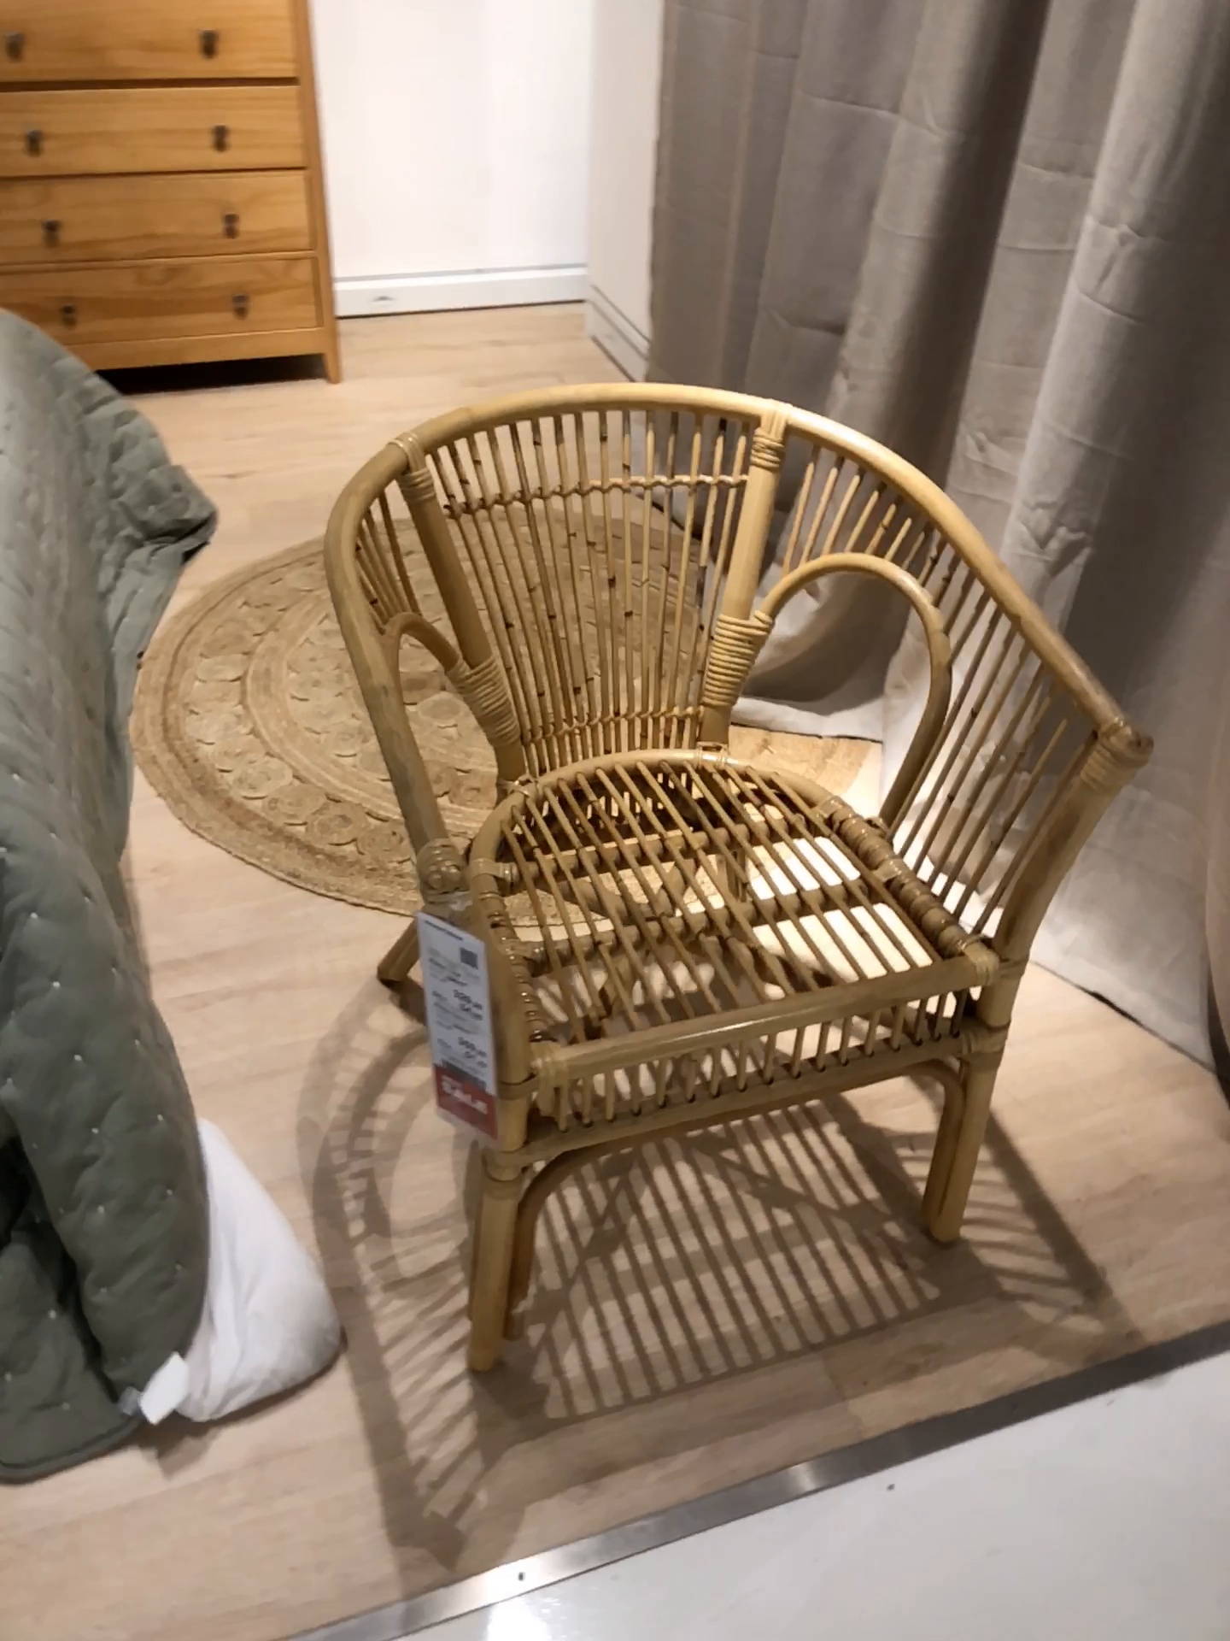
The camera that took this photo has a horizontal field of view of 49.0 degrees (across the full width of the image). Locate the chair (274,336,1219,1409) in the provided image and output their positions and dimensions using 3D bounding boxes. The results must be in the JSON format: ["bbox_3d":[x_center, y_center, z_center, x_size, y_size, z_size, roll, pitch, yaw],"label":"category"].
[{"bbox_3d":[0.037,0.020,1.348,0.591,0.754,0.634,-9,40,-15],"label":"chair"}]
